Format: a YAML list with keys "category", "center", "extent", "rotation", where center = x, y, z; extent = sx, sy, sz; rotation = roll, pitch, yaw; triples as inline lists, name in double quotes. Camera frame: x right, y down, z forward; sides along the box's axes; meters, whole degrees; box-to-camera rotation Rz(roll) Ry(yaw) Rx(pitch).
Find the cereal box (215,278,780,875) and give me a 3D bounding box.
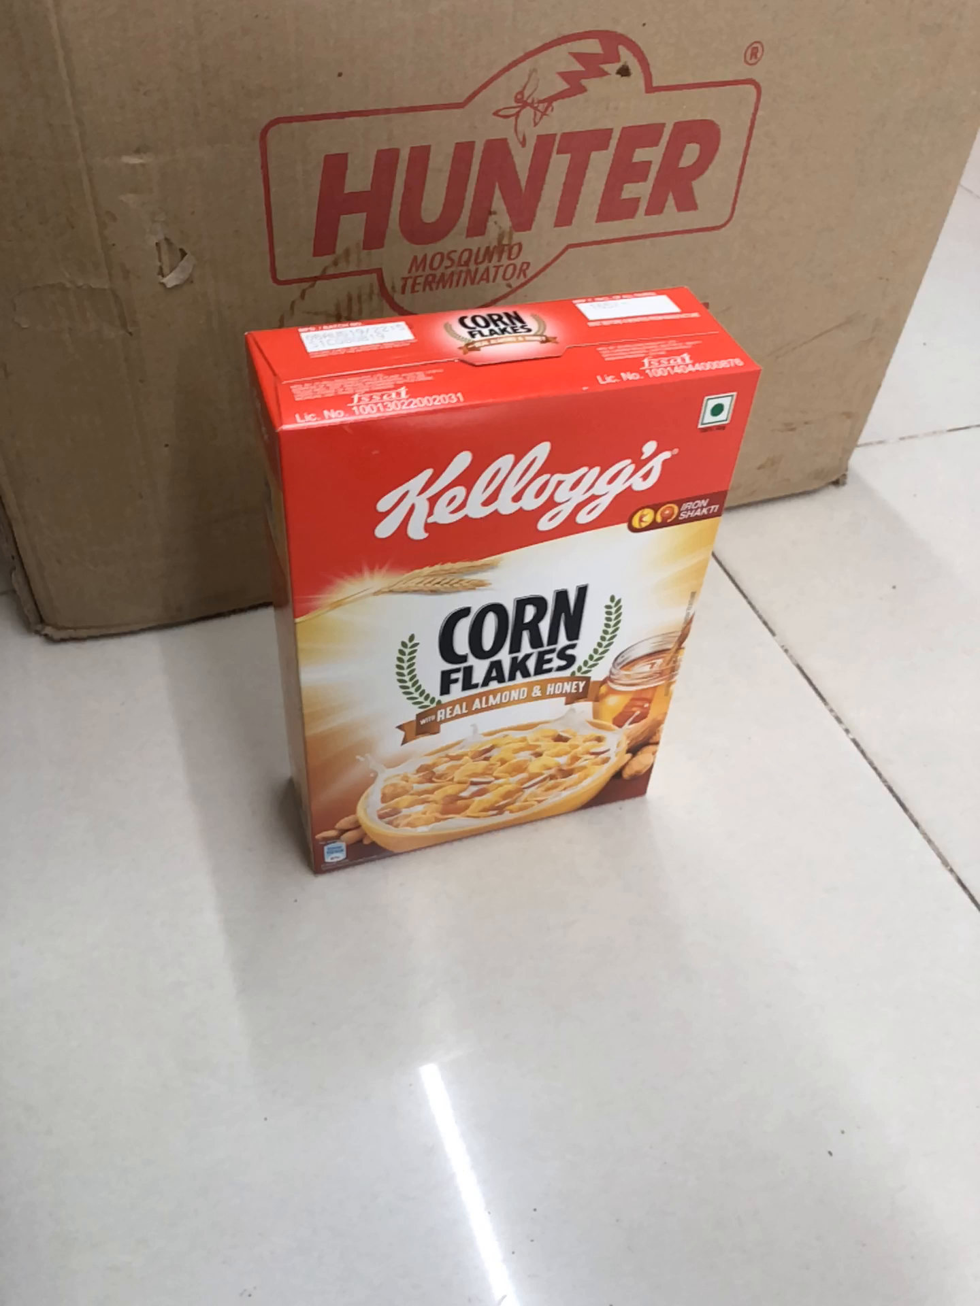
- category: "cereal box"
  center: [-0.004, -0.024, 0.499]
  extent: [0.200, 0.259, 0.070]
  rotation: [-11, 47, -16]
